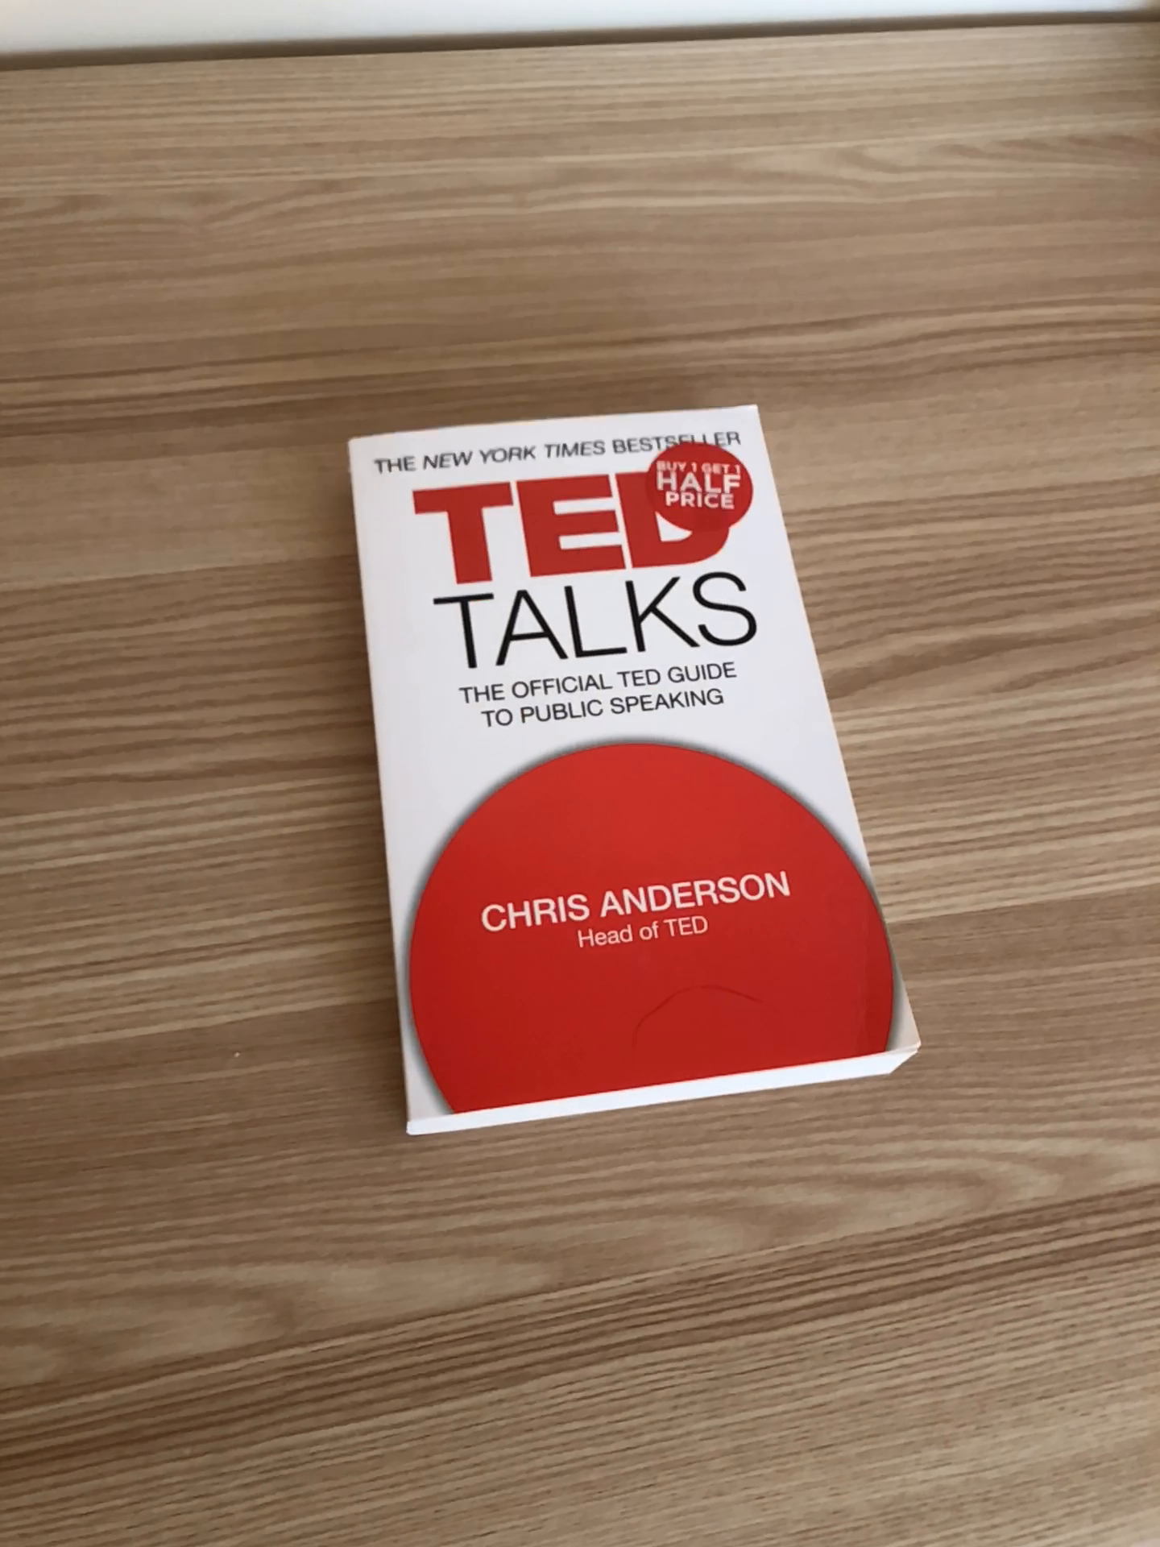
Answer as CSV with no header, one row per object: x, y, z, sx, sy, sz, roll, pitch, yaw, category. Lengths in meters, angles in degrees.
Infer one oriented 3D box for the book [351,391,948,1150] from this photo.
0.011,-0.012,0.382,0.138,0.030,0.220,-6,66,-7,book
